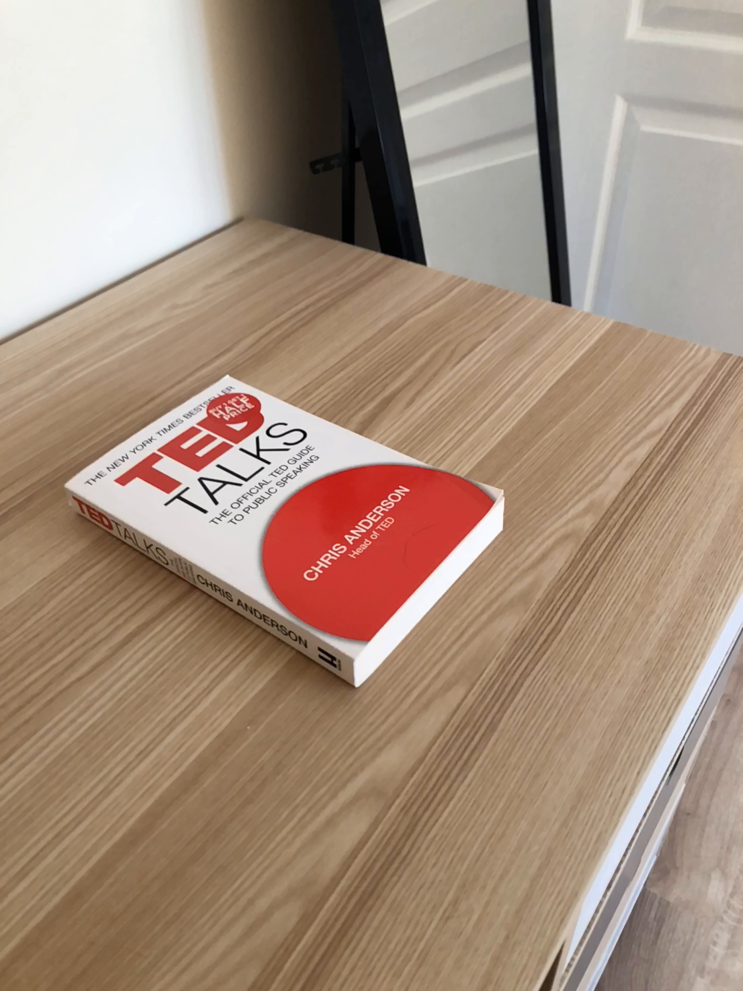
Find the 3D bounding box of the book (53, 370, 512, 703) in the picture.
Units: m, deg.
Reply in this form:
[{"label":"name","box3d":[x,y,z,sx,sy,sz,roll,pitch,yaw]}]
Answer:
[{"label":"book","box3d":[-0.052,0.006,0.466,0.220,0.030,0.139,26,48,28]}]
